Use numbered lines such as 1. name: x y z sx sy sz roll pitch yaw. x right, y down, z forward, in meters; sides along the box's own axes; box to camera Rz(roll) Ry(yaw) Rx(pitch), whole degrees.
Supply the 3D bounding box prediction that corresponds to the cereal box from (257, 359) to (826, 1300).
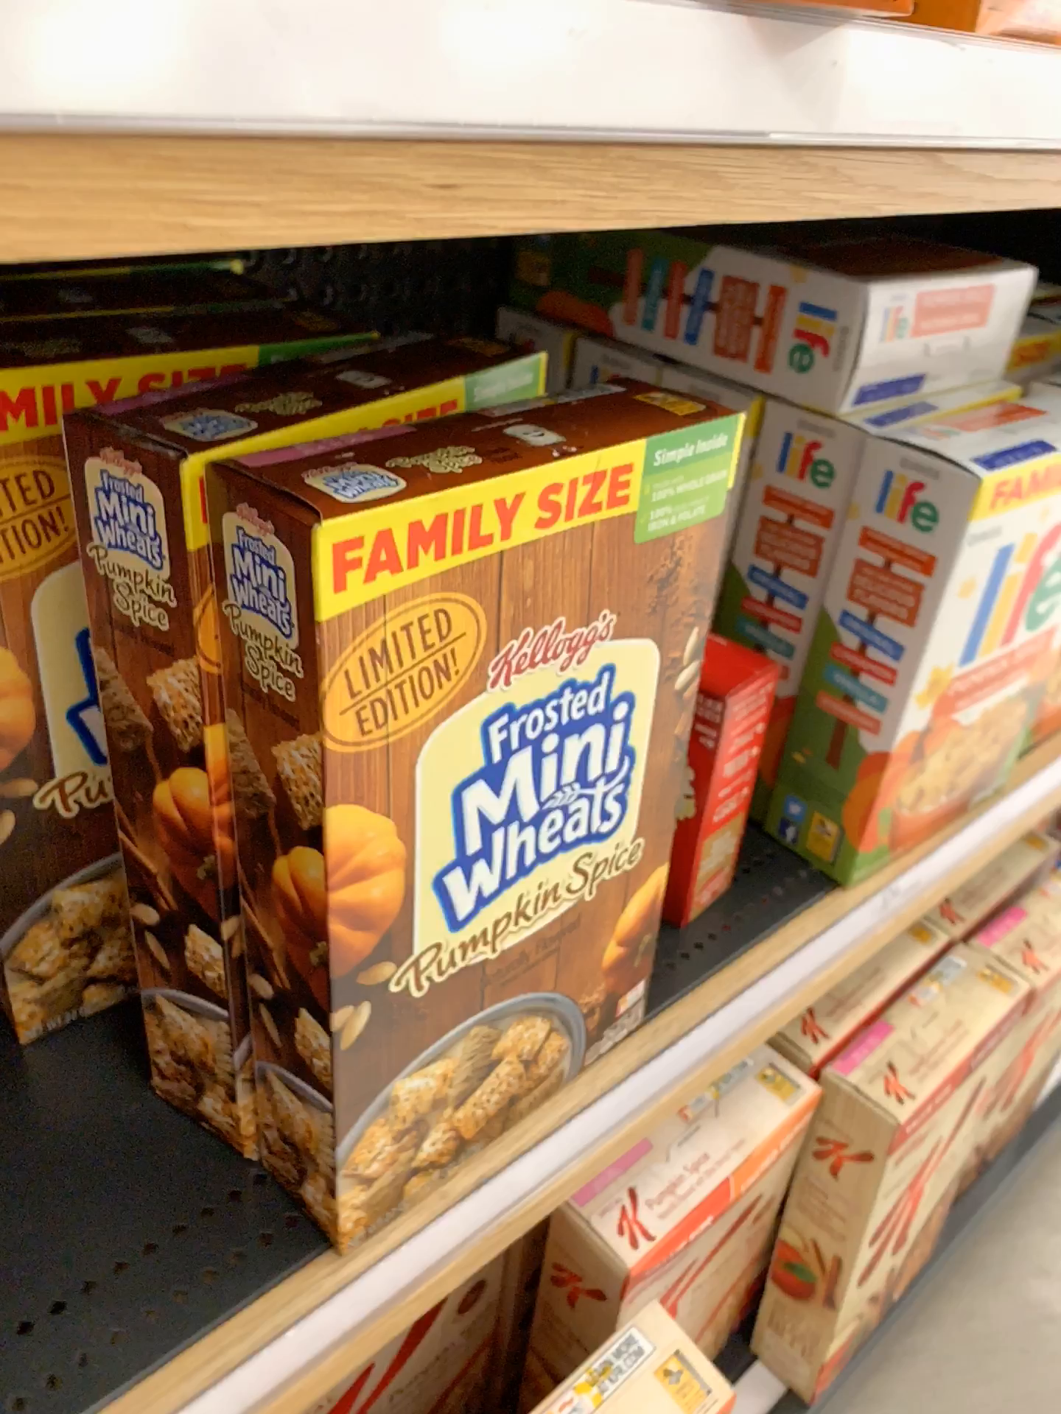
1. cereal box: 0.007 0.045 0.412 0.050 0.308 0.201 28 38 35
